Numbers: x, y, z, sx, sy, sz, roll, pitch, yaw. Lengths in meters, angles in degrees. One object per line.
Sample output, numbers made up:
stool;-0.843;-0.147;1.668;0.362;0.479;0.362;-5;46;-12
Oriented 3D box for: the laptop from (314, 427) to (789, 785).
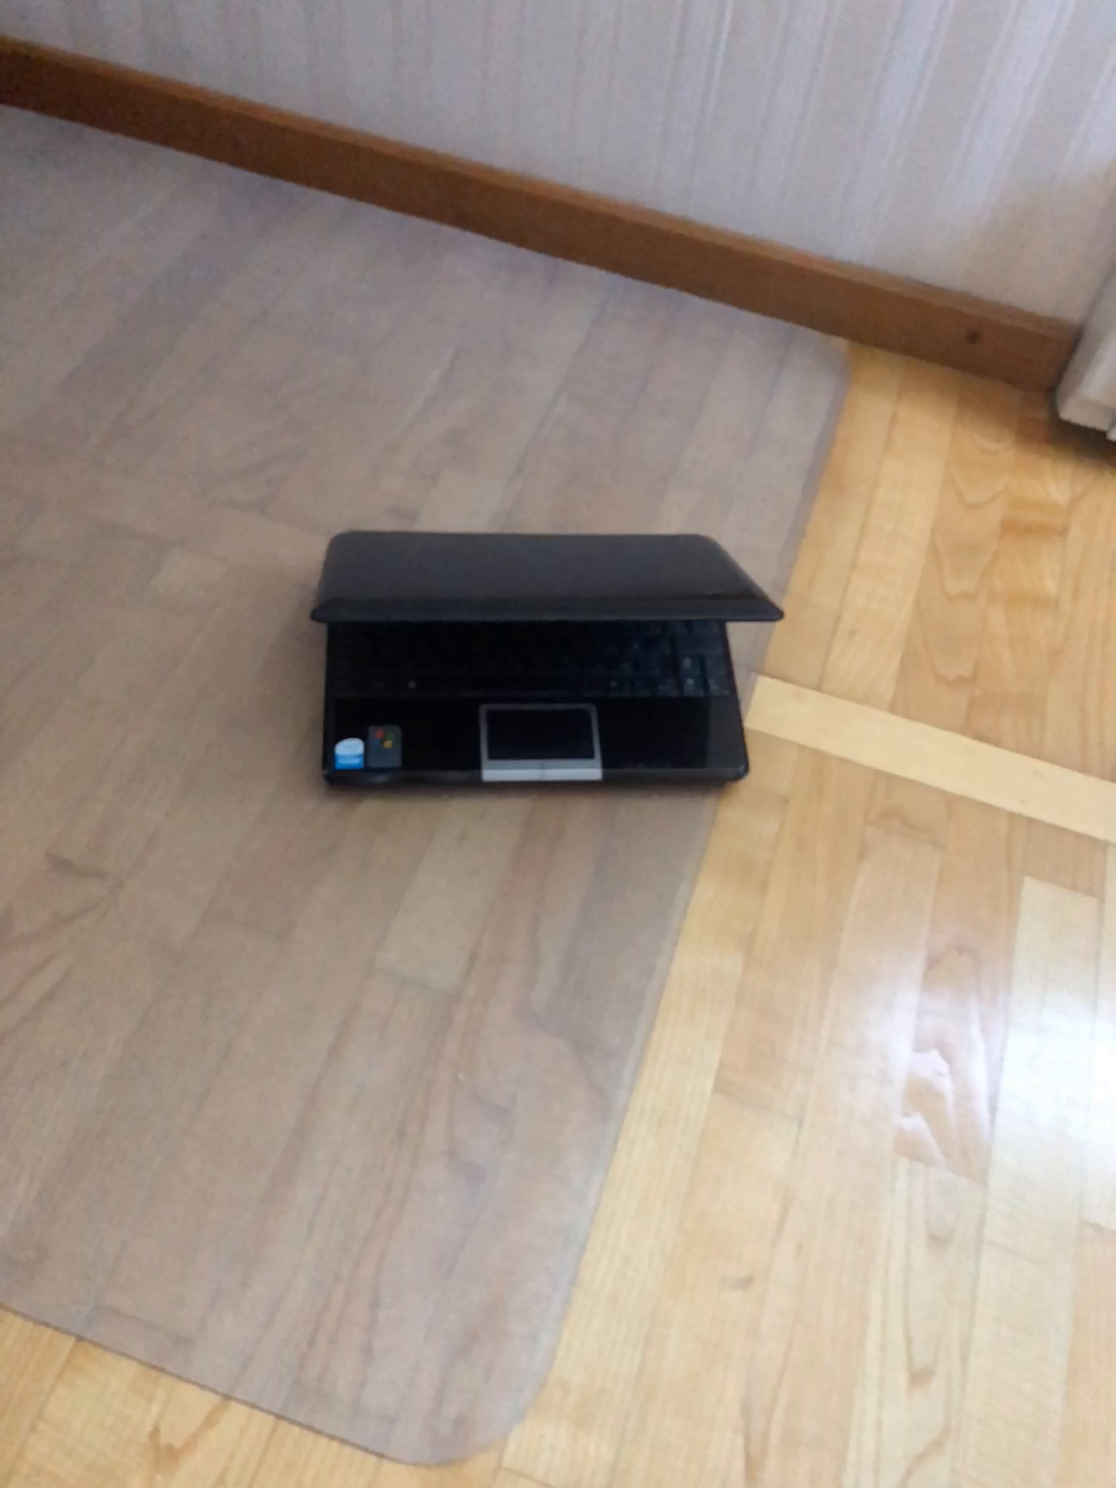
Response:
laptop;-0.011;-0.087;0.771;0.263;0.102;0.183;-1;58;-8
